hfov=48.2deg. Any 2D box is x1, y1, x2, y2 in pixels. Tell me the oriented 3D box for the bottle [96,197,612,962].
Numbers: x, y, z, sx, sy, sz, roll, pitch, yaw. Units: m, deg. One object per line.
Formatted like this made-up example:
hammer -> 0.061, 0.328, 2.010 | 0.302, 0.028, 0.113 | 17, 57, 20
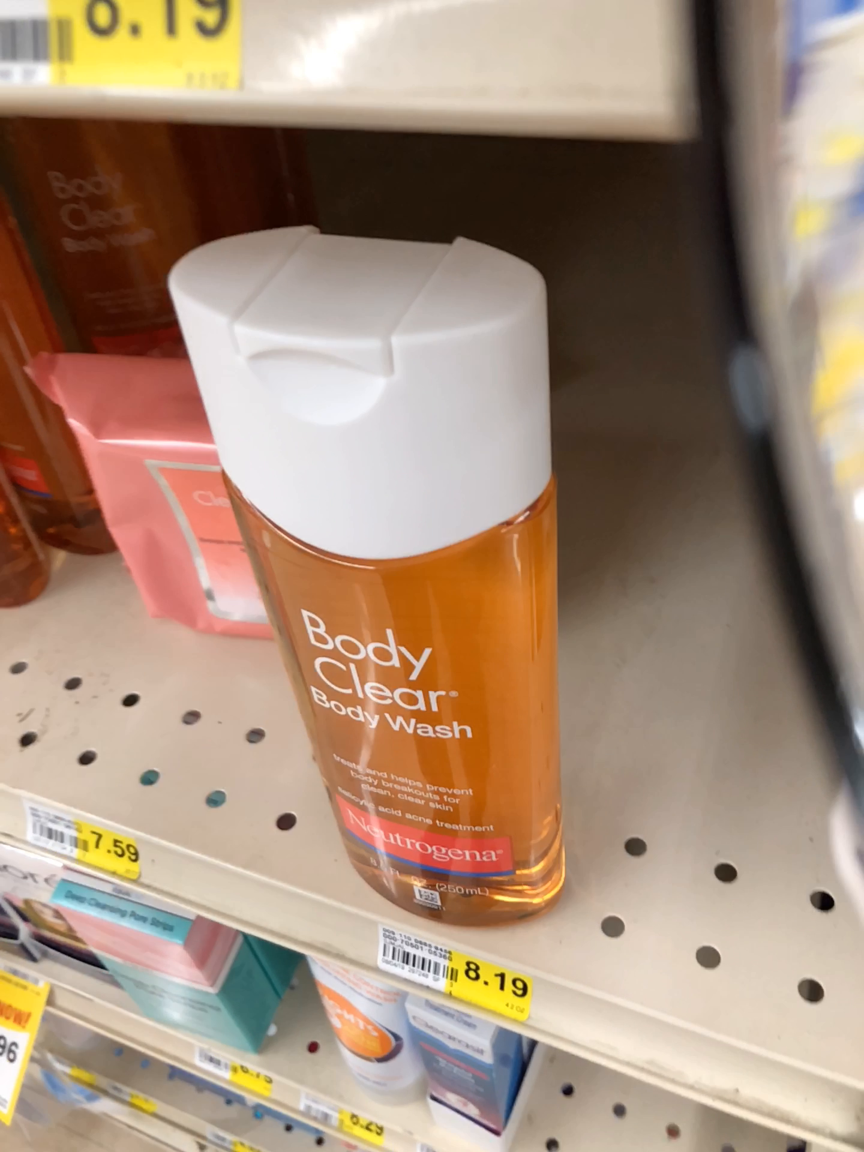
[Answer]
bottle -> 0.000, 0.018, 0.221 | 0.070, 0.190, 0.045 | 12, 50, 20
